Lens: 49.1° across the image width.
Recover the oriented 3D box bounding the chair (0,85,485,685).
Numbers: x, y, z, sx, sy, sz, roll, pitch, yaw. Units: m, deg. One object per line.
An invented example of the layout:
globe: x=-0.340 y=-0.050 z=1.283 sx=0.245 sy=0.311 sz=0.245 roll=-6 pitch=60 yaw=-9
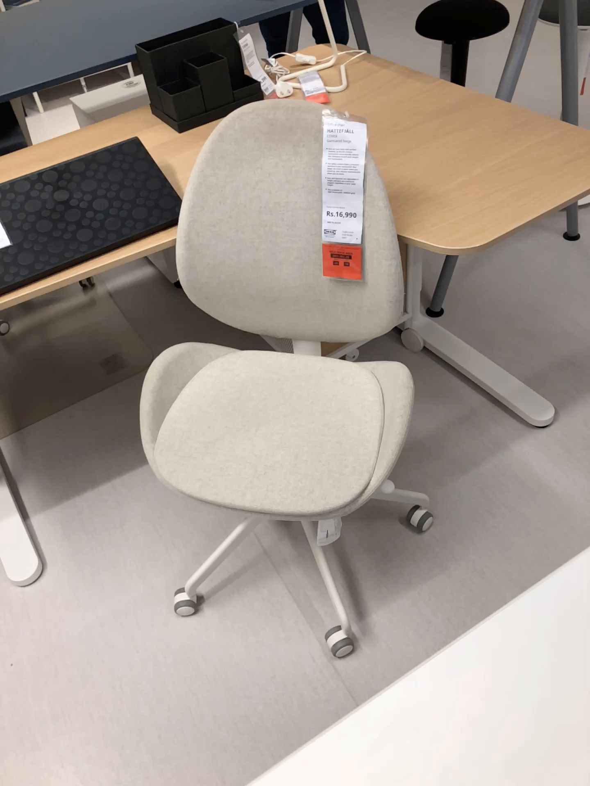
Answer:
chair: x=-0.016 y=0.022 z=1.308 sx=0.661 sy=0.994 sz=0.623 roll=5 pitch=47 yaw=14
